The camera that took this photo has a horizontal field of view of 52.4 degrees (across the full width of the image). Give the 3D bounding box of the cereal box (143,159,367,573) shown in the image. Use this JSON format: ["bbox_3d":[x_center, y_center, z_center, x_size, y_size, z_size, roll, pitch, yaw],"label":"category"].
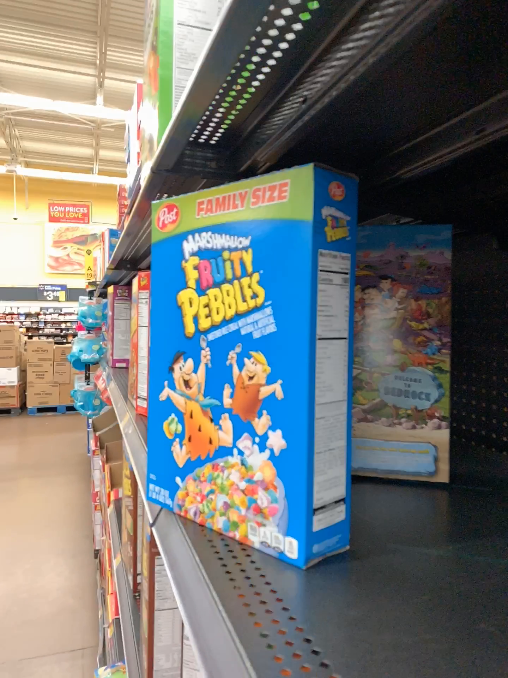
[{"bbox_3d":[-0.012,0.017,0.515,0.230,0.330,0.070,3,3,43],"label":"cereal box"}]
